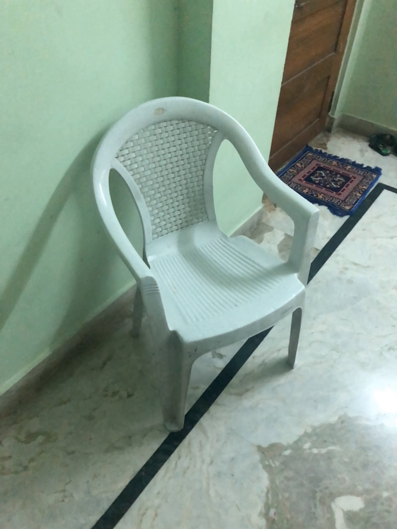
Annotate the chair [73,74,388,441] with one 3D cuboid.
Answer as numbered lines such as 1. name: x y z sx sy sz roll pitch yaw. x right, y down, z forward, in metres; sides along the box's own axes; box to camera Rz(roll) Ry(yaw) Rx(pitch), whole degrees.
1. chair: 0.036 -0.012 1.293 0.531 0.825 0.533 -19 48 -21
